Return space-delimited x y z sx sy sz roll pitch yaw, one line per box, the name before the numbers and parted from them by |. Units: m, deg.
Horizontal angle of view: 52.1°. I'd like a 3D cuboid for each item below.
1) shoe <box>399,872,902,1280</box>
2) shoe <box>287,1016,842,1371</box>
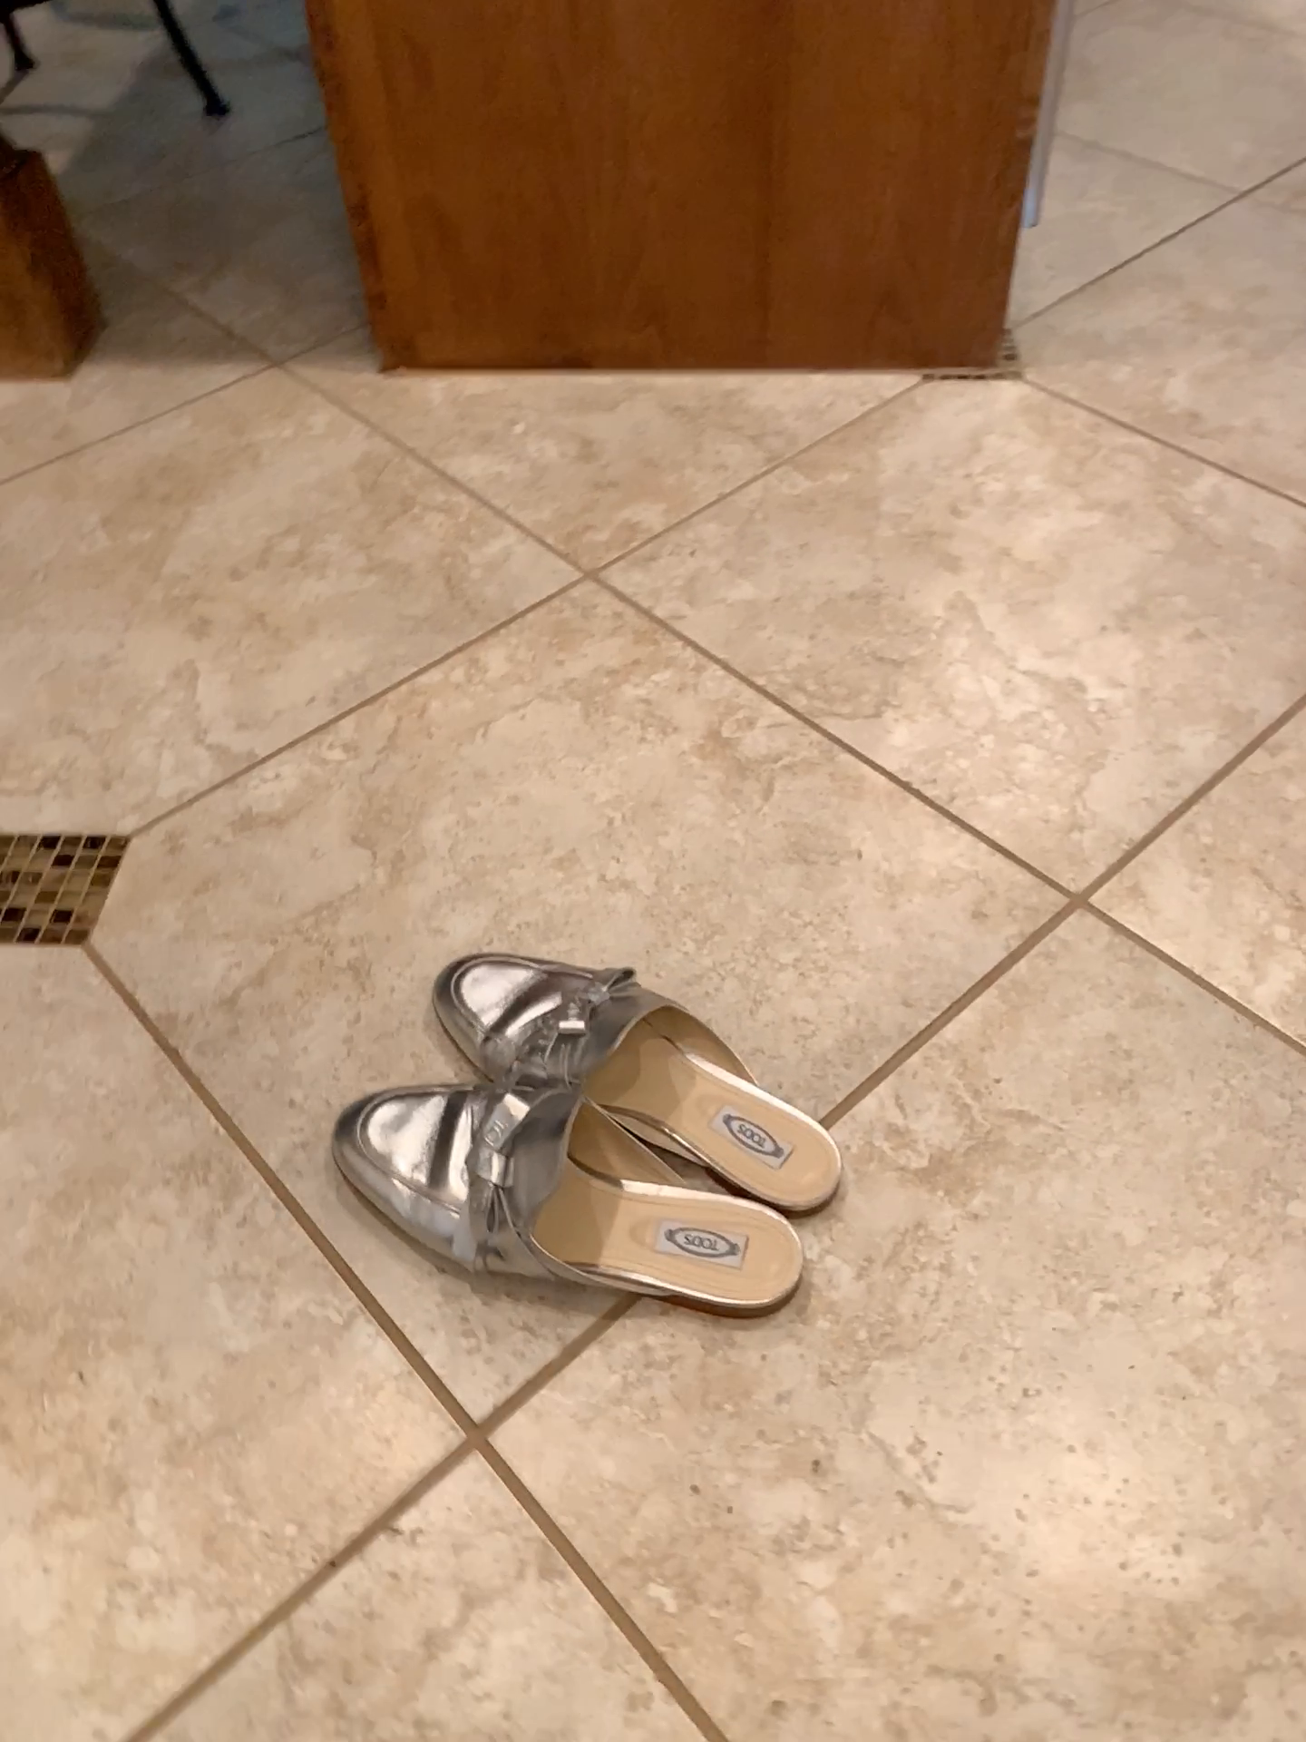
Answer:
shoe | -0.005 0.113 0.791 0.277 0.077 0.102 25 55 23
shoe | -0.047 0.173 0.734 0.280 0.077 0.092 13 51 14
